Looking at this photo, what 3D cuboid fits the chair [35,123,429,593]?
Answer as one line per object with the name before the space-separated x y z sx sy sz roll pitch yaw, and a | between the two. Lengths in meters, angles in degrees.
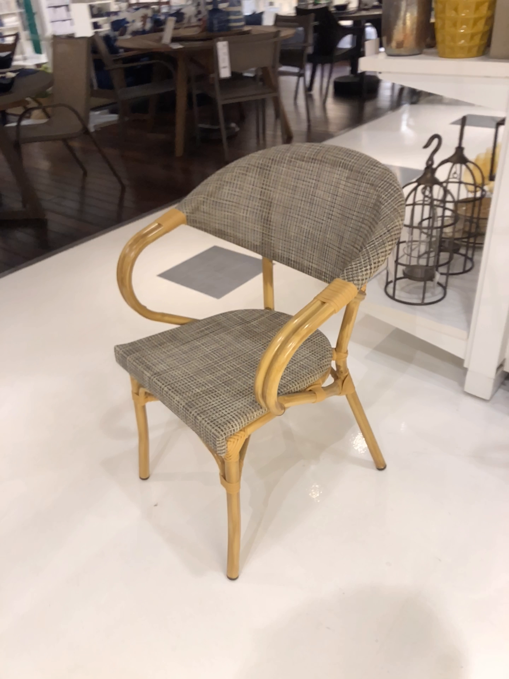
chair | -0.029 -0.003 1.304 0.572 0.784 0.523 -26 39 -30
